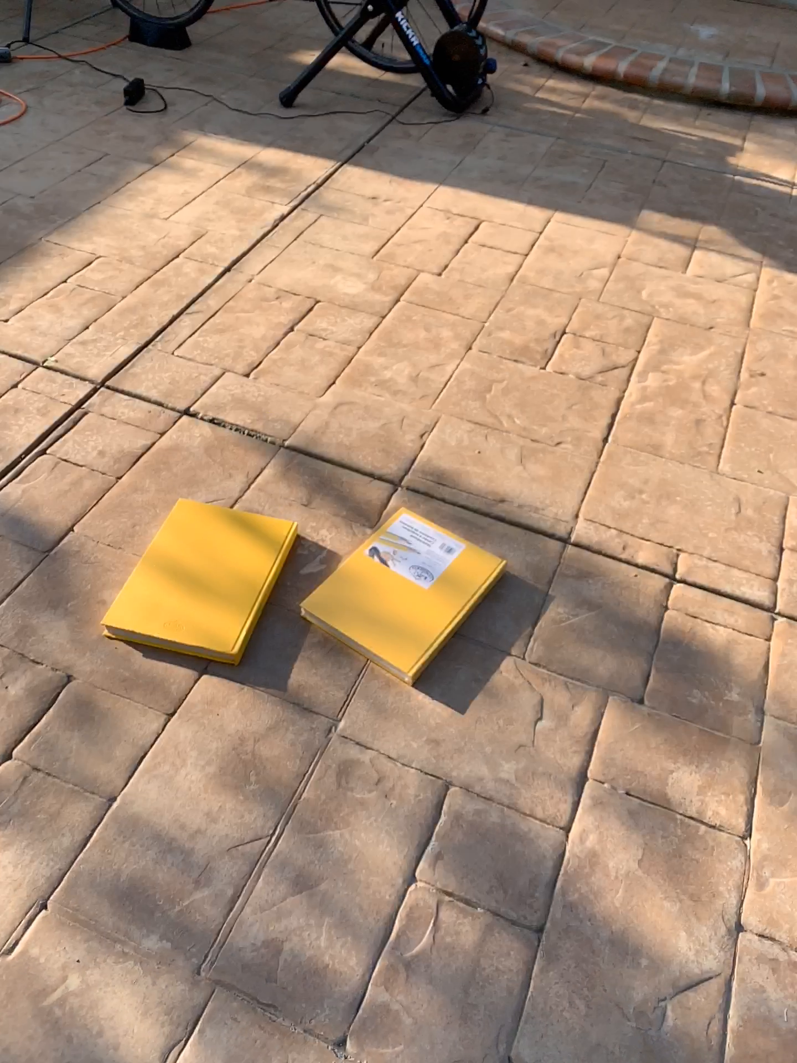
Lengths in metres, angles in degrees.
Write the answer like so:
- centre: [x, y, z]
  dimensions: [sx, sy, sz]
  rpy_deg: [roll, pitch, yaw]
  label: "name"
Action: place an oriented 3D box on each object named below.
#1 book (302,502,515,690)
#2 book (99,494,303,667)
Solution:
- centre: [0.019, 0.091, 1.304]
  dimensions: [0.221, 0.030, 0.274]
  rpy_deg: [28, 54, 22]
  label: "book"
- centre: [-0.302, 0.068, 1.304]
  dimensions: [0.220, 0.030, 0.290]
  rpy_deg: [11, 46, 7]
  label: "book"
